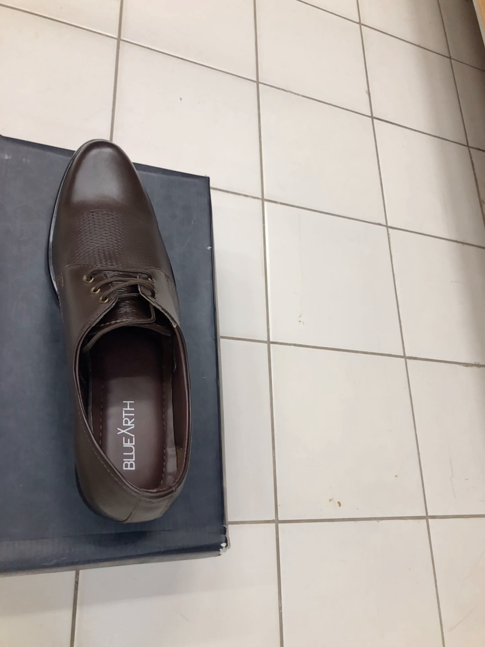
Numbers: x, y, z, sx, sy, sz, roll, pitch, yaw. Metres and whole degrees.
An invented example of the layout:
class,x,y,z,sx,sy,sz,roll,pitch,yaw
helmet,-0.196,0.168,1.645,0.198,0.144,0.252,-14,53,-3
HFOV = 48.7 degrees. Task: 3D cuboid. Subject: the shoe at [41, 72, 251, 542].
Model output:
class,x,y,z,sx,sy,sz,roll,pitch,yaw
shoe,-0.080,-0.013,0.385,0.110,0.100,0.301,2,70,-24
